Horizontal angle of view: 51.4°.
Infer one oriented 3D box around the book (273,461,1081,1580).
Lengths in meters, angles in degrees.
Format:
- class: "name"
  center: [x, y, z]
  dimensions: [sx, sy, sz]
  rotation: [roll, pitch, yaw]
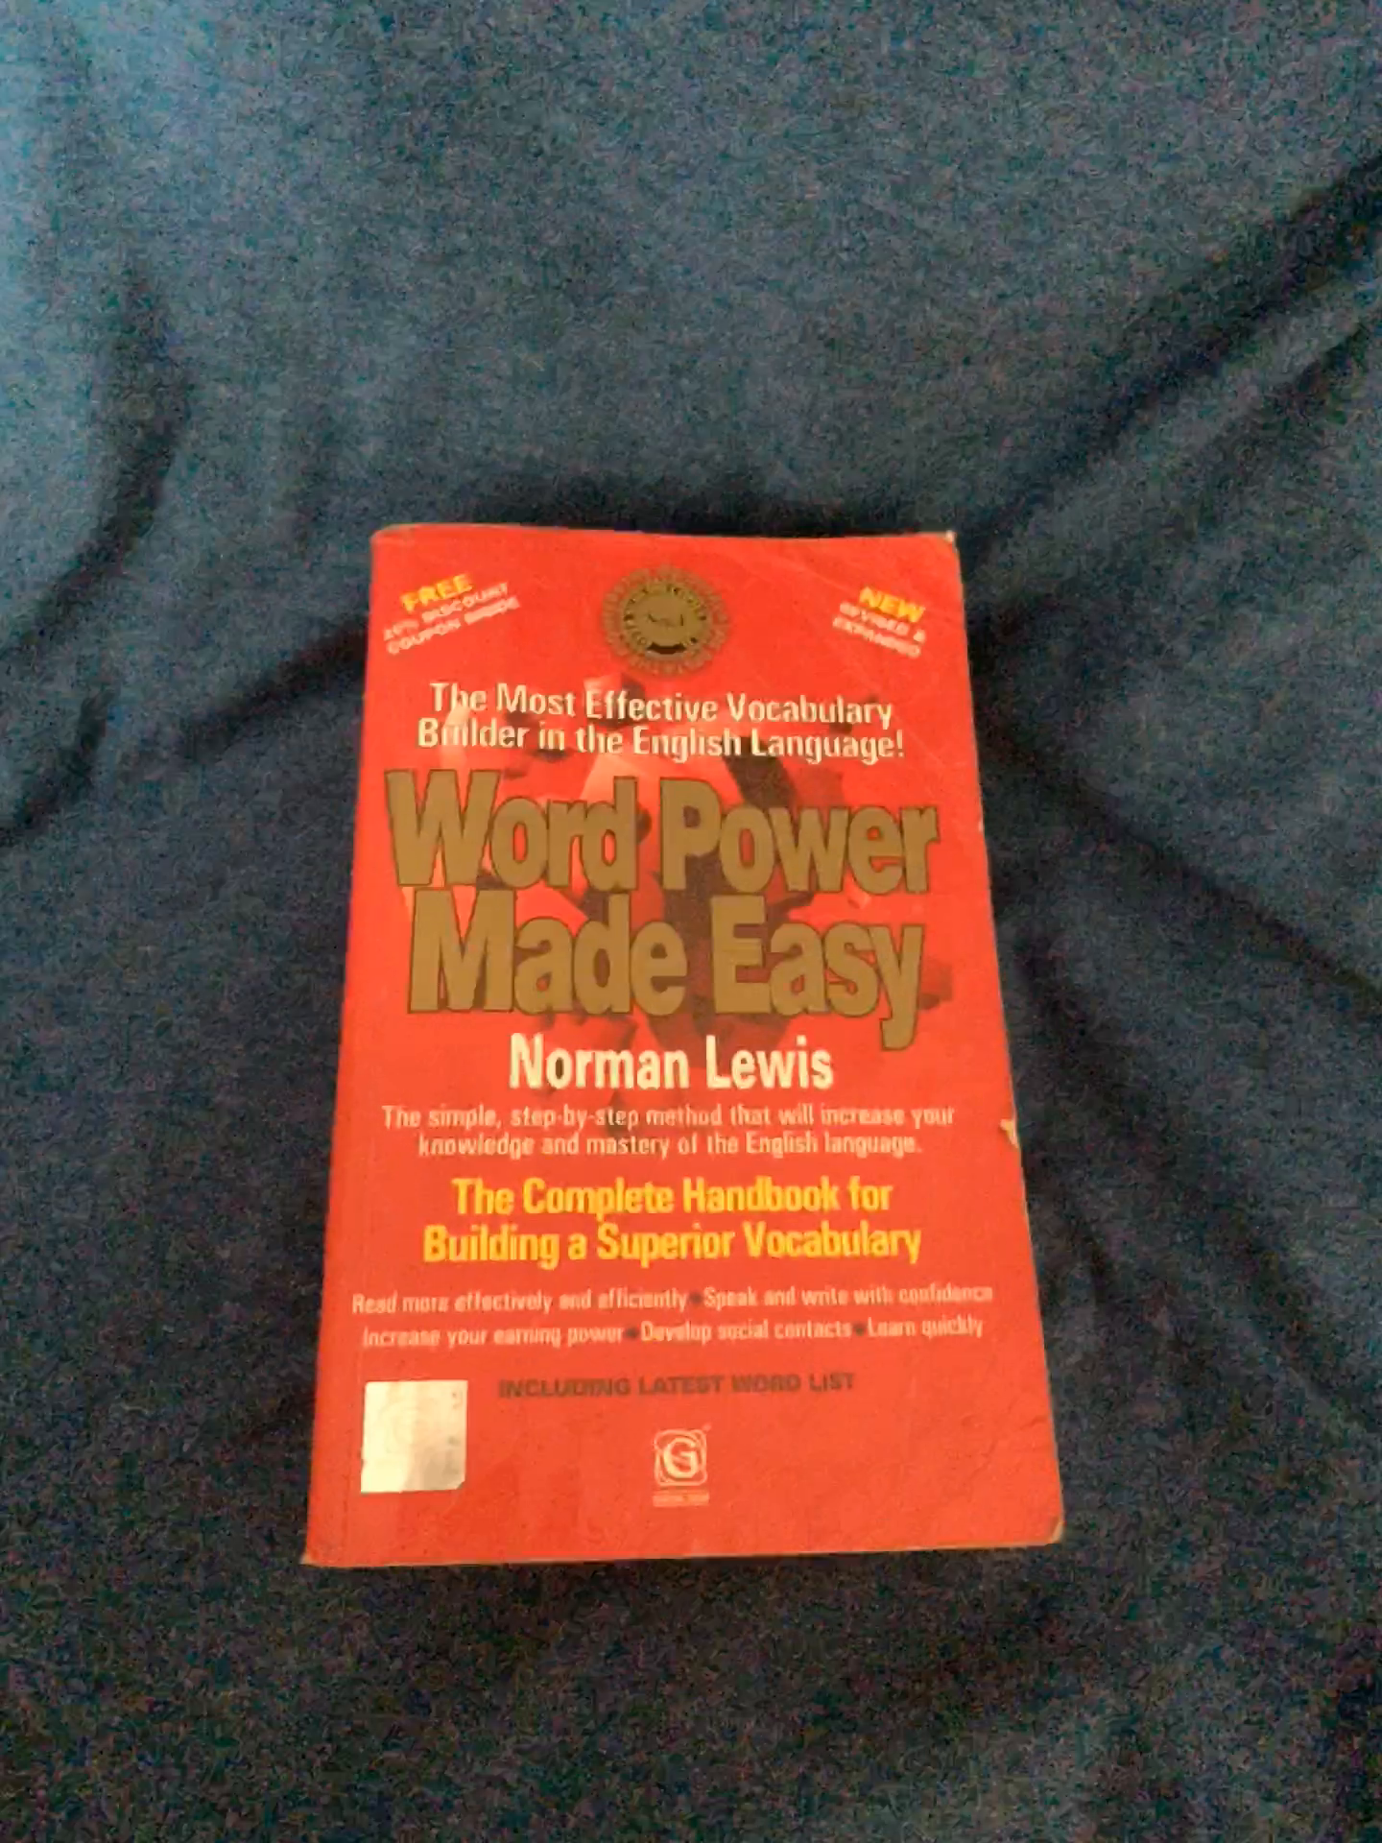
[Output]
- class: "book"
  center: [-0.006, 0.012, 0.267]
  dimensions: [0.120, 0.050, 0.190]
  rotation: [0, 71, -7]
